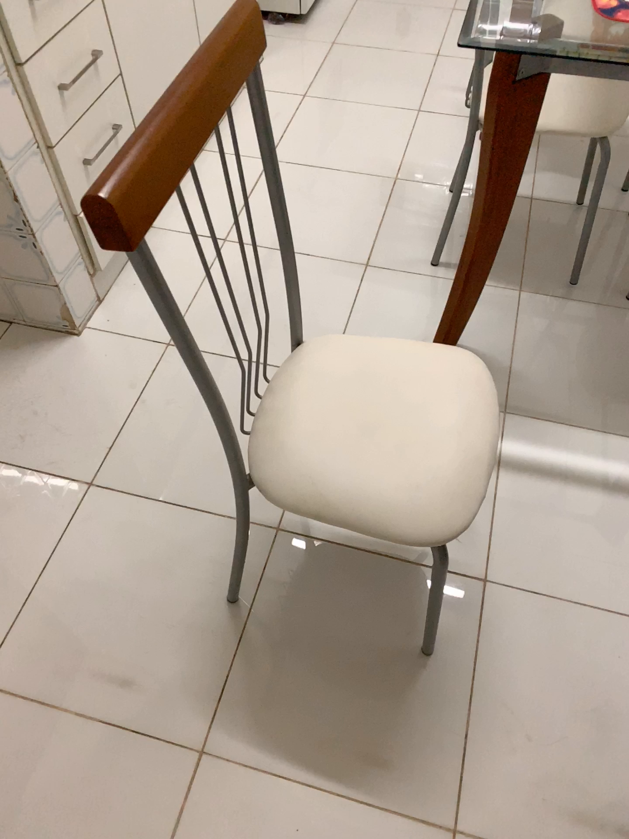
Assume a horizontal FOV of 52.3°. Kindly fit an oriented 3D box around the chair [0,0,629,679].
[{"bbox_3d":[0.048,-0.034,0.981,0.510,0.886,0.482,12,55,10],"label":"chair"}]
